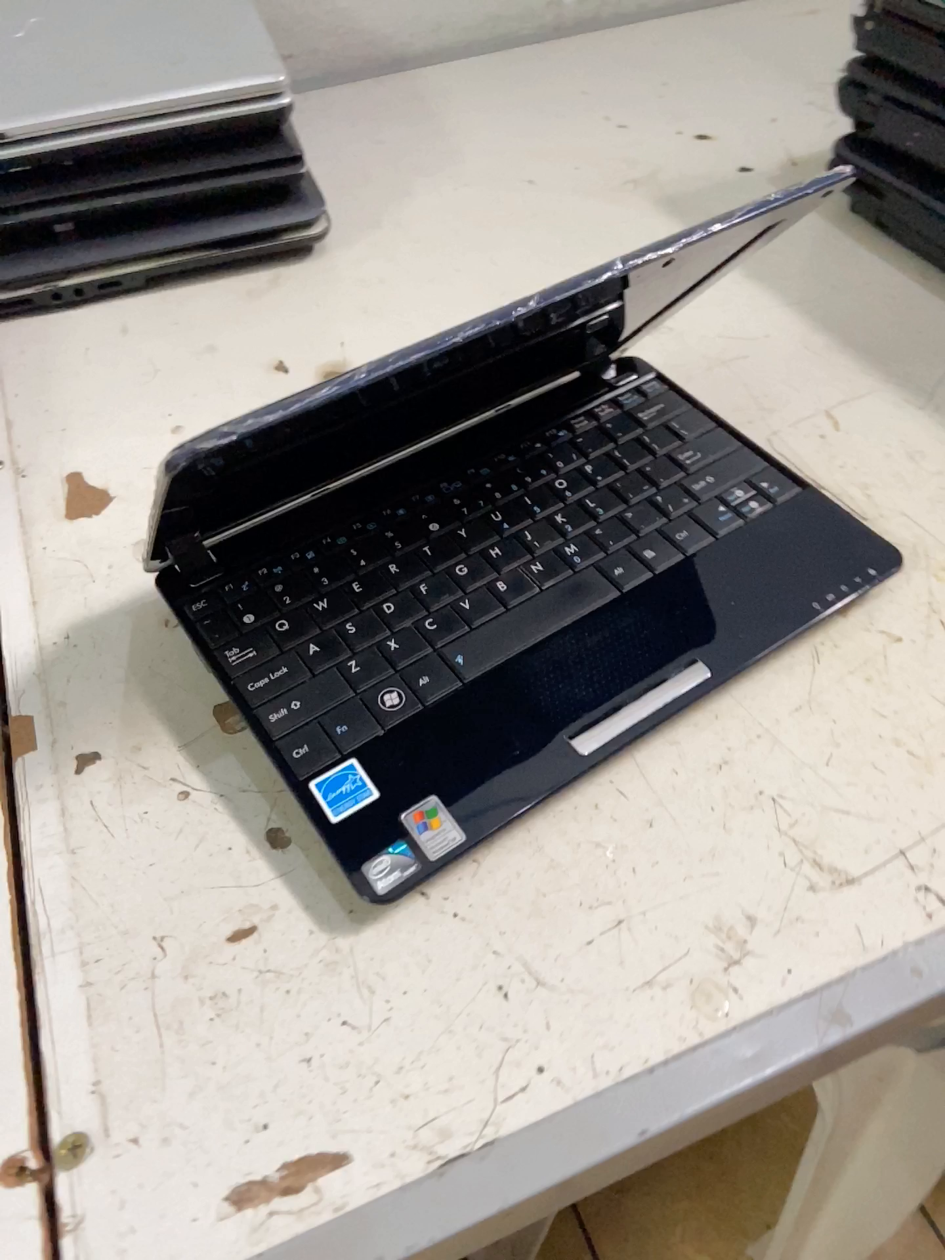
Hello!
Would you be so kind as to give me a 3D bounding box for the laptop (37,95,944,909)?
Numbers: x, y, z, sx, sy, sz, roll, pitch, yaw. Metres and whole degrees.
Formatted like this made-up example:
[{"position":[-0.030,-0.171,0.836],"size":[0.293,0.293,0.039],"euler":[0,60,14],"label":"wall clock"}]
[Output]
[{"position":[0.021,-0.066,0.354],"size":[0.259,0.121,0.170],"euler":[-29,56,-22],"label":"laptop"}]
